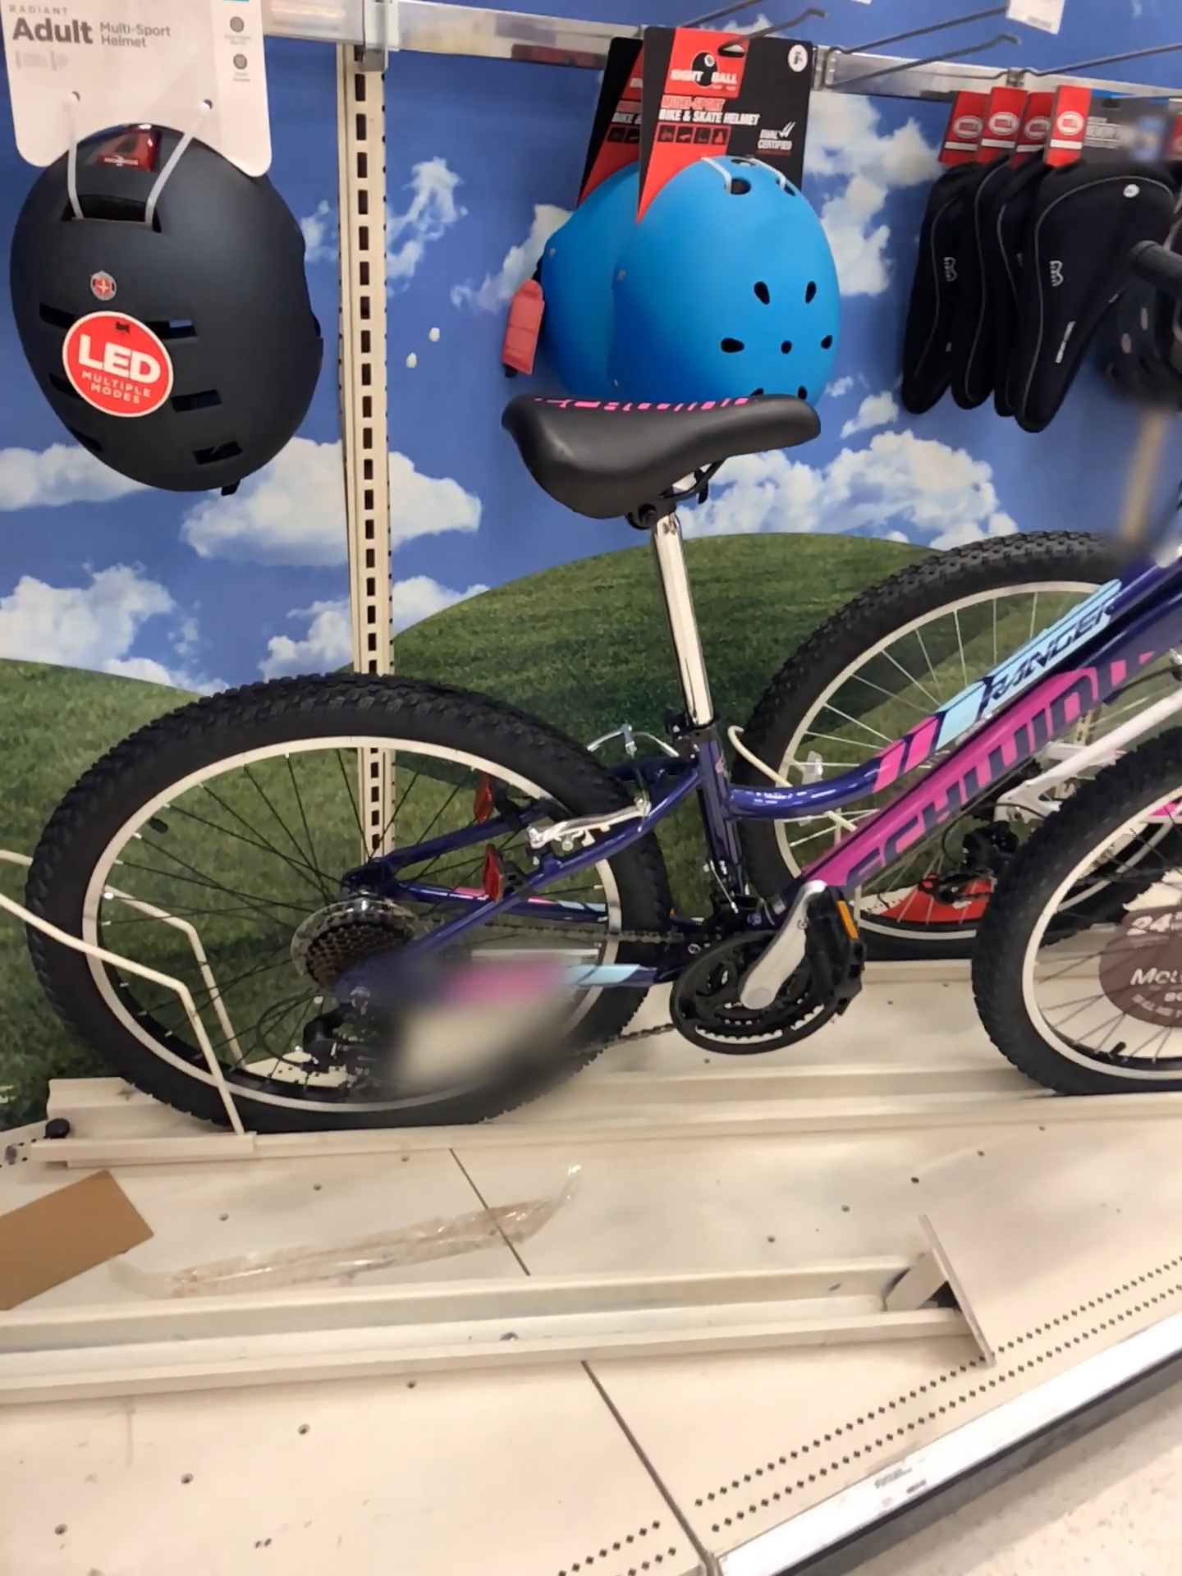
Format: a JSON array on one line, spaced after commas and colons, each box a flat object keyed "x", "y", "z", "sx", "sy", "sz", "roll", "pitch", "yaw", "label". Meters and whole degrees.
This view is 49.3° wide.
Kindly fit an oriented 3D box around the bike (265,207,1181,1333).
[{"x": 0.410, "y": -0.043, "z": 1.138, "sx": 1.222, "sy": 0.798, "sz": 0.571, "roll": 2, "pitch": 26, "yaw": -2, "label": "bike"}]
